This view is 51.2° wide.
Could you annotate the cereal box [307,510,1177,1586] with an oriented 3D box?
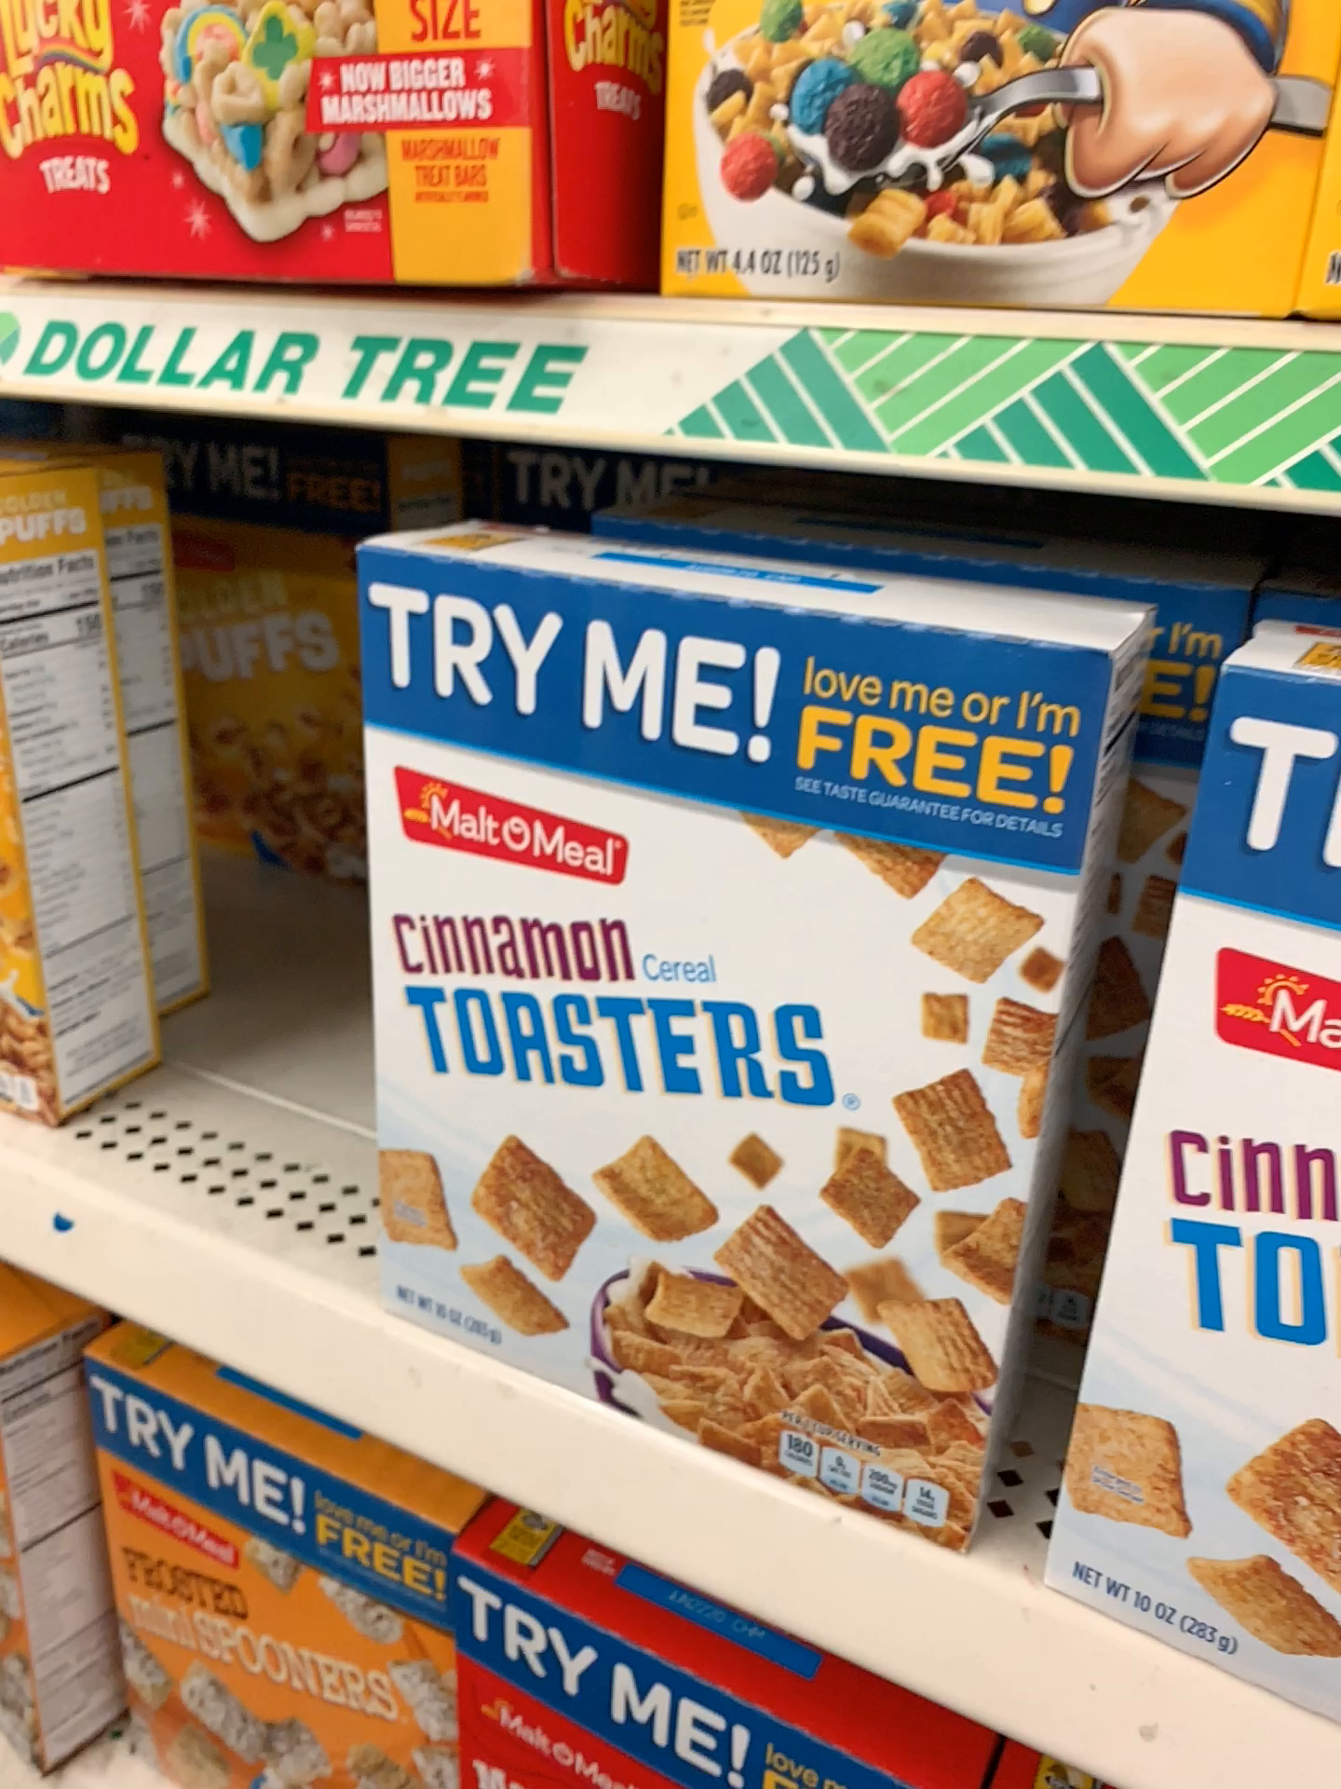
[{"bbox_3d":[0.005,0.031,0.324,0.170,0.209,0.050,14,26,23],"label":"cereal box"}]
